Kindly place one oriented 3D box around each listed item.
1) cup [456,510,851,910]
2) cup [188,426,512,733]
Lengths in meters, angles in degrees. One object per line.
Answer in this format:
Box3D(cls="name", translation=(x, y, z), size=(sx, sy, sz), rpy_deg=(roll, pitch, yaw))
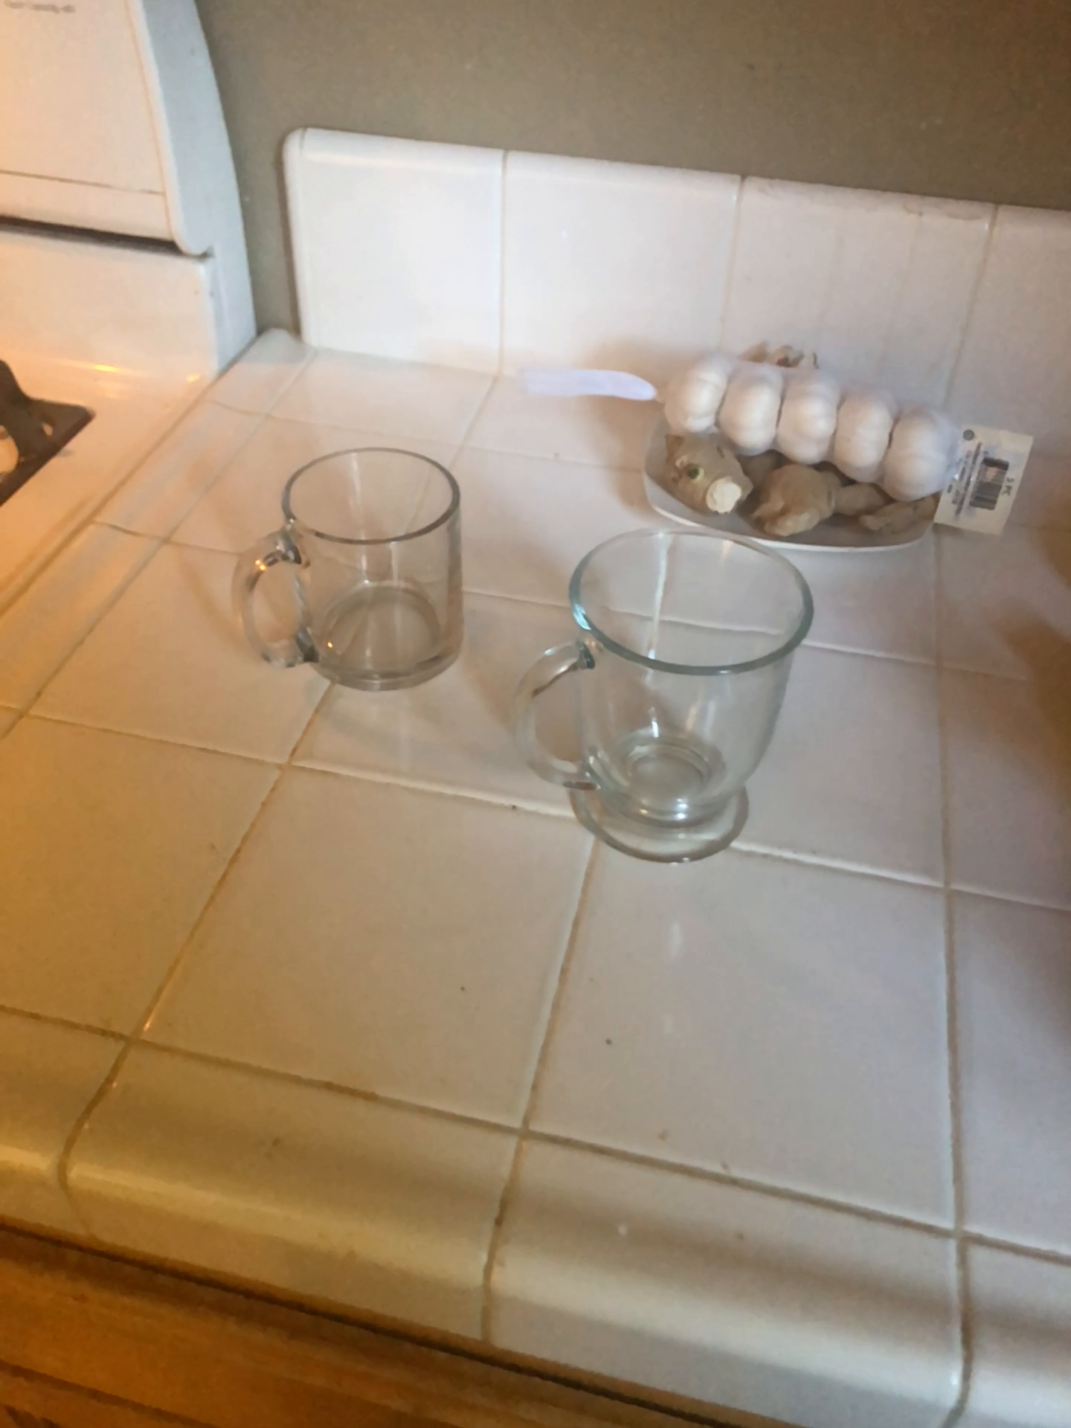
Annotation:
Box3D(cls="cup", translation=(0.041, -0.003, 0.495), size=(0.130, 0.119, 0.091), rpy_deg=(-9, 44, -12))
Box3D(cls="cup", translation=(-0.090, -0.069, 0.587), size=(0.130, 0.089, 0.091), rpy_deg=(-16, 46, -19))
